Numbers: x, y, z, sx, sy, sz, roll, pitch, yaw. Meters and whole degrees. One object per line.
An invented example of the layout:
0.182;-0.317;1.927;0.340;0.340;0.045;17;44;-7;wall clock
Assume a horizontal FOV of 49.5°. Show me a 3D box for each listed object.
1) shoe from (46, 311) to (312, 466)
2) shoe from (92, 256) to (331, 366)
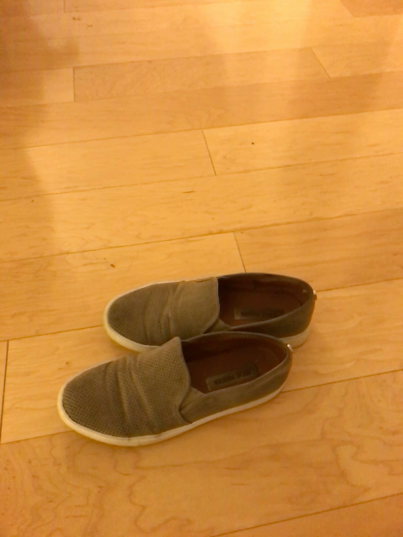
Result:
-0.029;0.133;0.506;0.280;0.050;0.111;-9;54;-9;shoe
0.009;0.053;0.566;0.280;0.060;0.111;-3;54;-4;shoe
